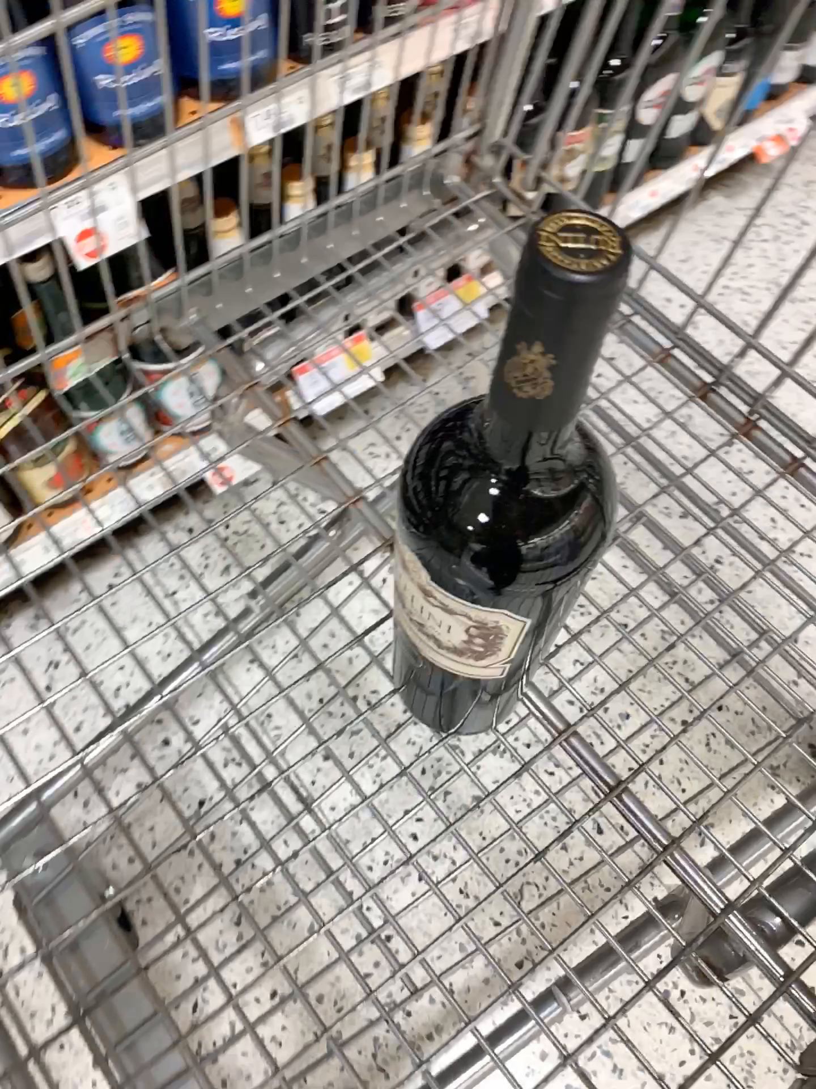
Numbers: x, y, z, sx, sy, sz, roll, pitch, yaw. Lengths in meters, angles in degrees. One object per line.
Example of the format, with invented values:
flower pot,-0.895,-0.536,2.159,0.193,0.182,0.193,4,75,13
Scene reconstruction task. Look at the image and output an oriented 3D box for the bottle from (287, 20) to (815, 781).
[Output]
bottle,0.035,-0.010,0.321,0.100,0.298,0.090,-35,69,-19
